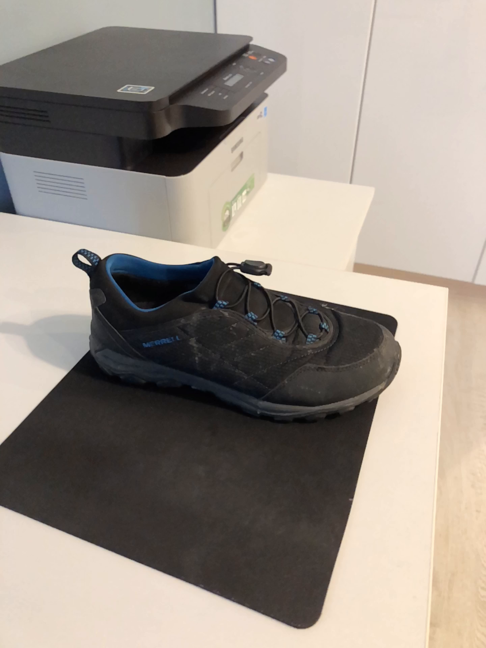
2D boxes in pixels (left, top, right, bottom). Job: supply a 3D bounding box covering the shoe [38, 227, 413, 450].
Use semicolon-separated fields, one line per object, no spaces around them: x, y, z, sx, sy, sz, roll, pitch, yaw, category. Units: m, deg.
-0.008;0.005;0.499;0.300;0.109;0.131;8;39;9;shoe
